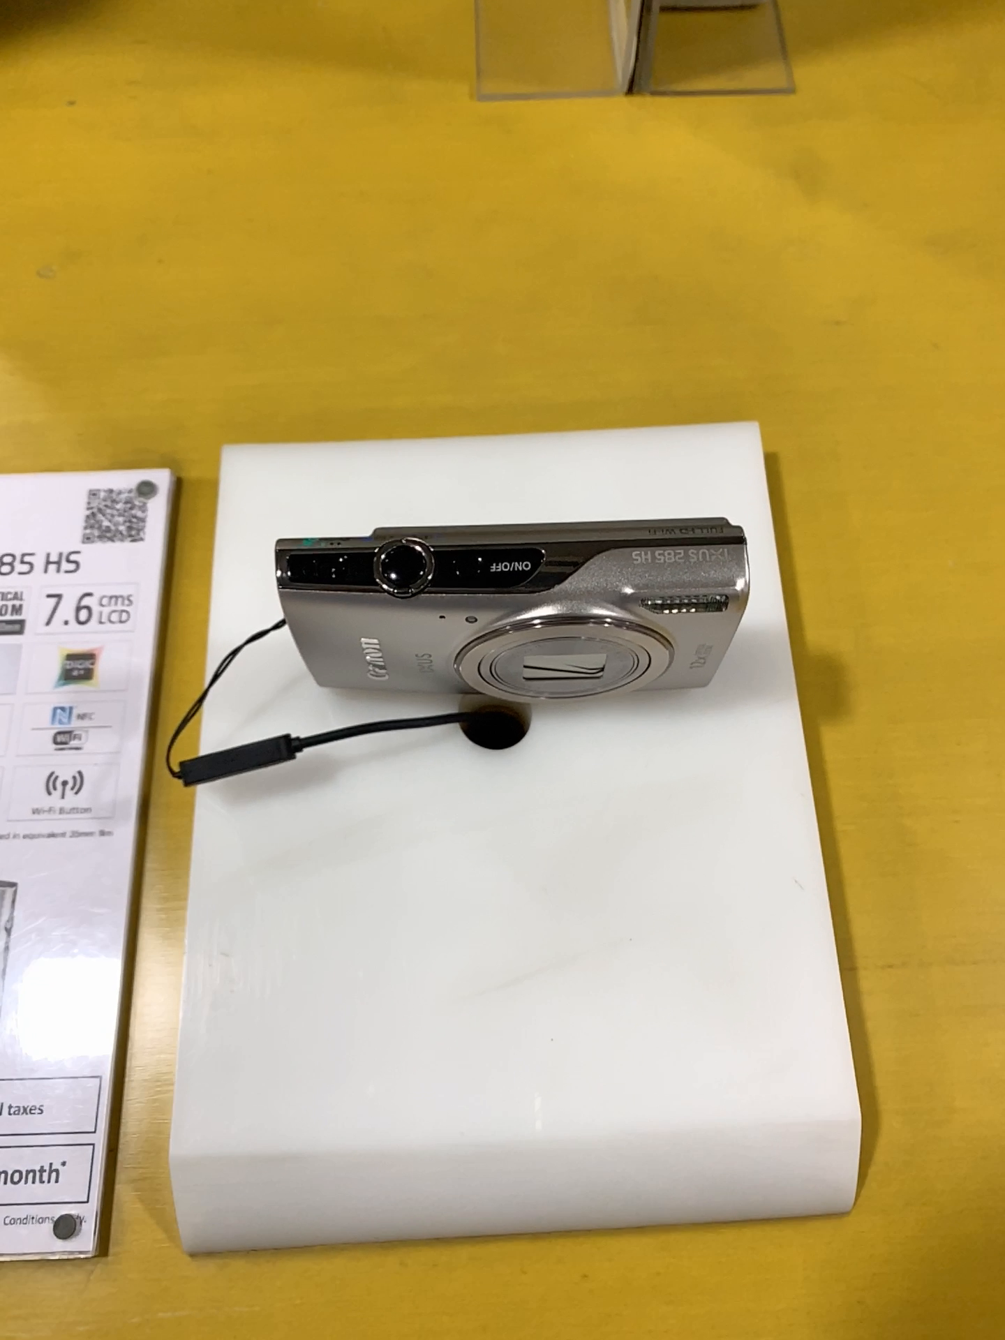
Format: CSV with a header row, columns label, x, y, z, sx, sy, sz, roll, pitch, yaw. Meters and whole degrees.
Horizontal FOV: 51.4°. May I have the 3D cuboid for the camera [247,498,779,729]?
label,x,y,z,sx,sy,sz,roll,pitch,yaw
camera,0.002,-0.010,0.225,0.100,0.050,0.030,-1,68,1
